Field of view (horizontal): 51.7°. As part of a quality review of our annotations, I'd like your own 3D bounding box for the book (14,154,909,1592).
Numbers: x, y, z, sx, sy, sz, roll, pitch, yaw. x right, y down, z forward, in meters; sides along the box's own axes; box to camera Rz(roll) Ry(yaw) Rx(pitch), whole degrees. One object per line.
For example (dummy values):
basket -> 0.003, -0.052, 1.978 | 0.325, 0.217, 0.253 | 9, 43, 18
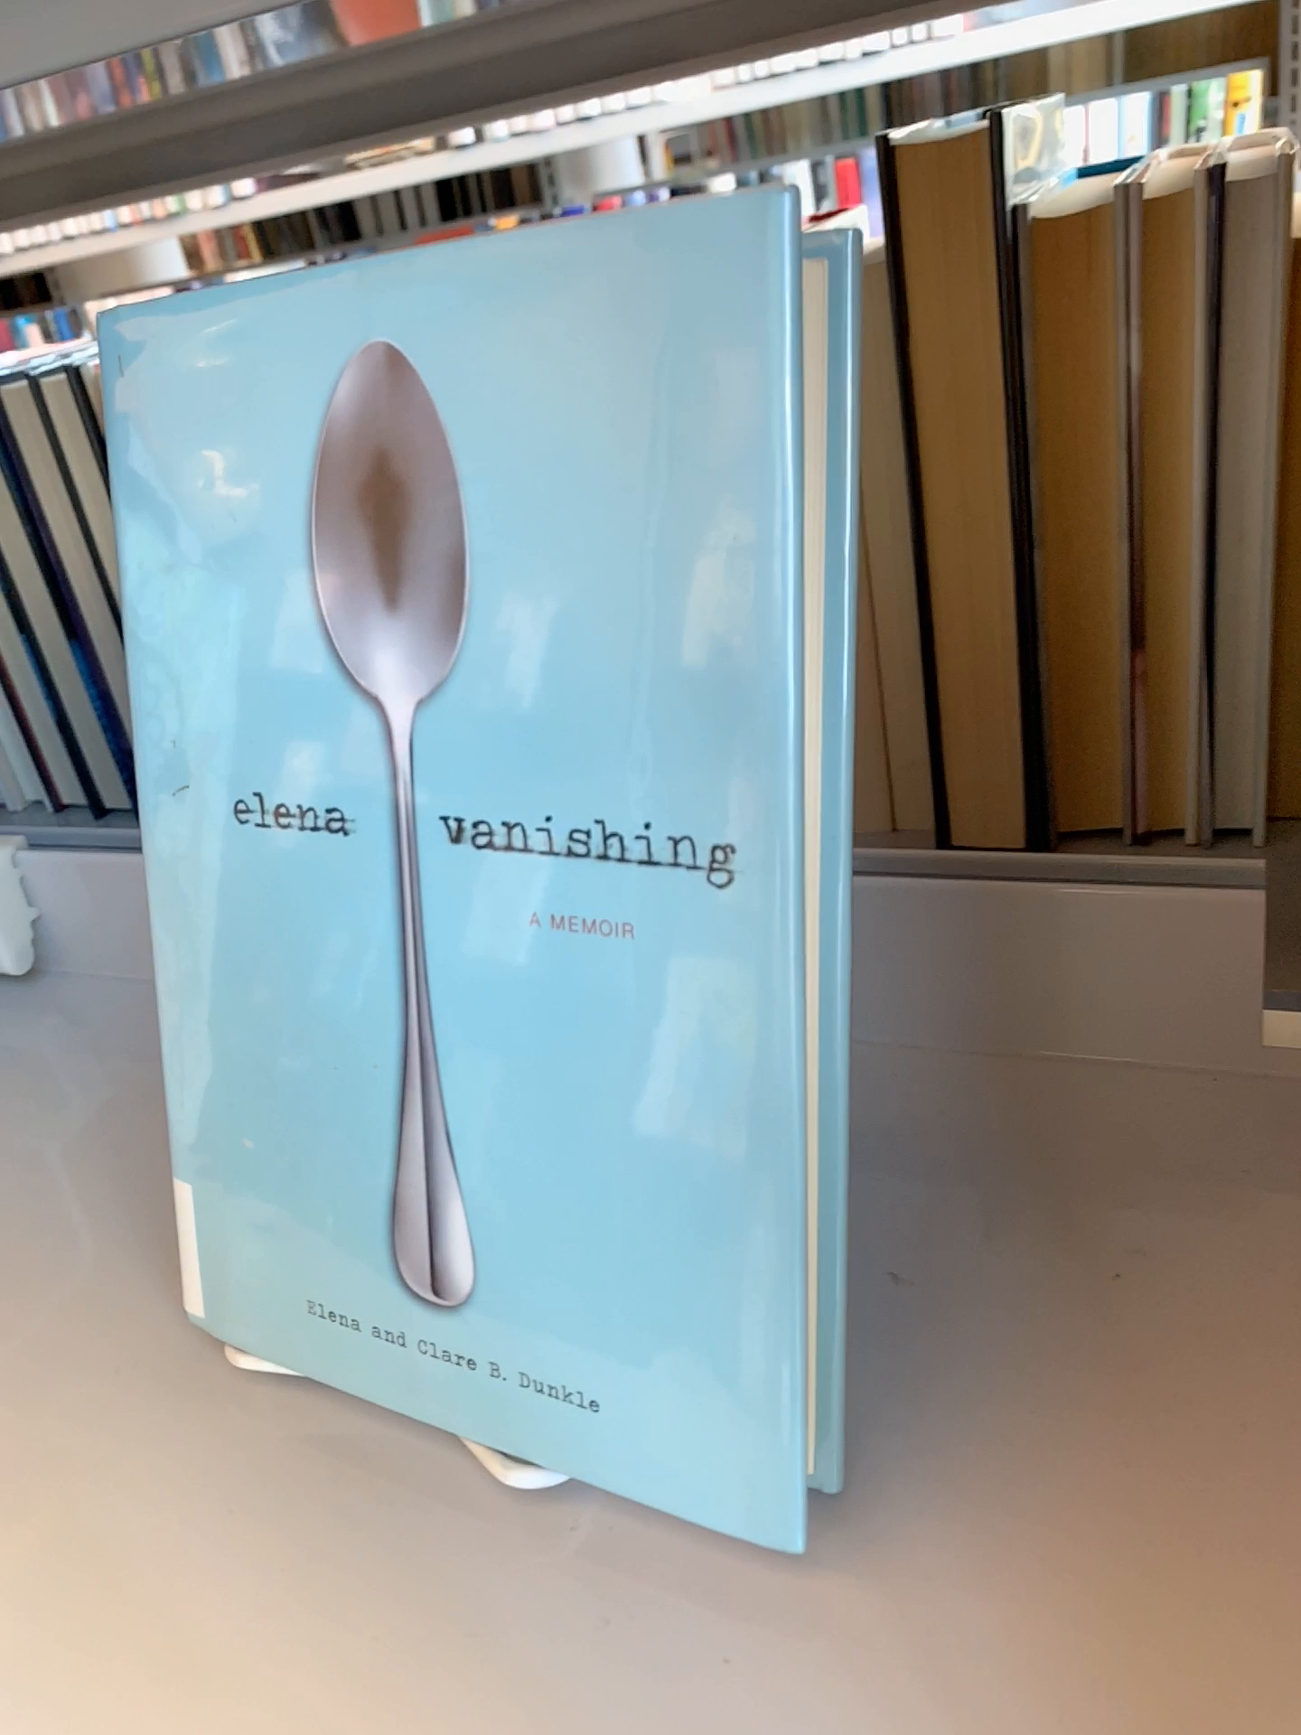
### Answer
book -> -0.037, 0.001, 0.241 | 0.159, 0.203, 0.035 | 6, 13, 30
